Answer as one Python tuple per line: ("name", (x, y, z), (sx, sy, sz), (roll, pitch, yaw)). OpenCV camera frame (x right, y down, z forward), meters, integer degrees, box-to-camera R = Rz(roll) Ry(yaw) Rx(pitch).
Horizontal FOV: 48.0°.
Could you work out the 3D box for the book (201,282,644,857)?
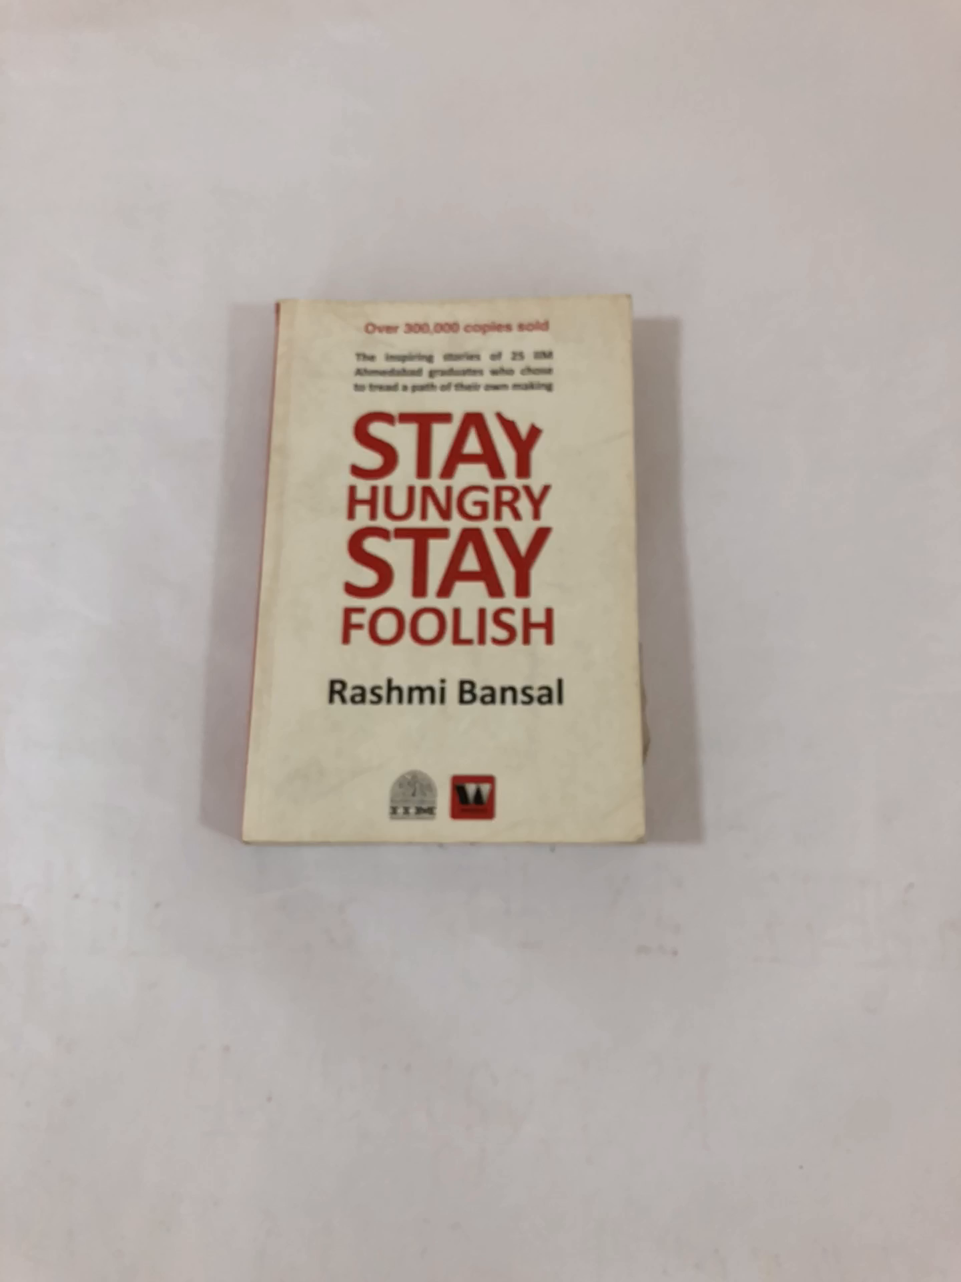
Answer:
("book", (-0.017, -0.026, 0.363), (0.130, 0.040, 0.190), (0, 73, 1))
